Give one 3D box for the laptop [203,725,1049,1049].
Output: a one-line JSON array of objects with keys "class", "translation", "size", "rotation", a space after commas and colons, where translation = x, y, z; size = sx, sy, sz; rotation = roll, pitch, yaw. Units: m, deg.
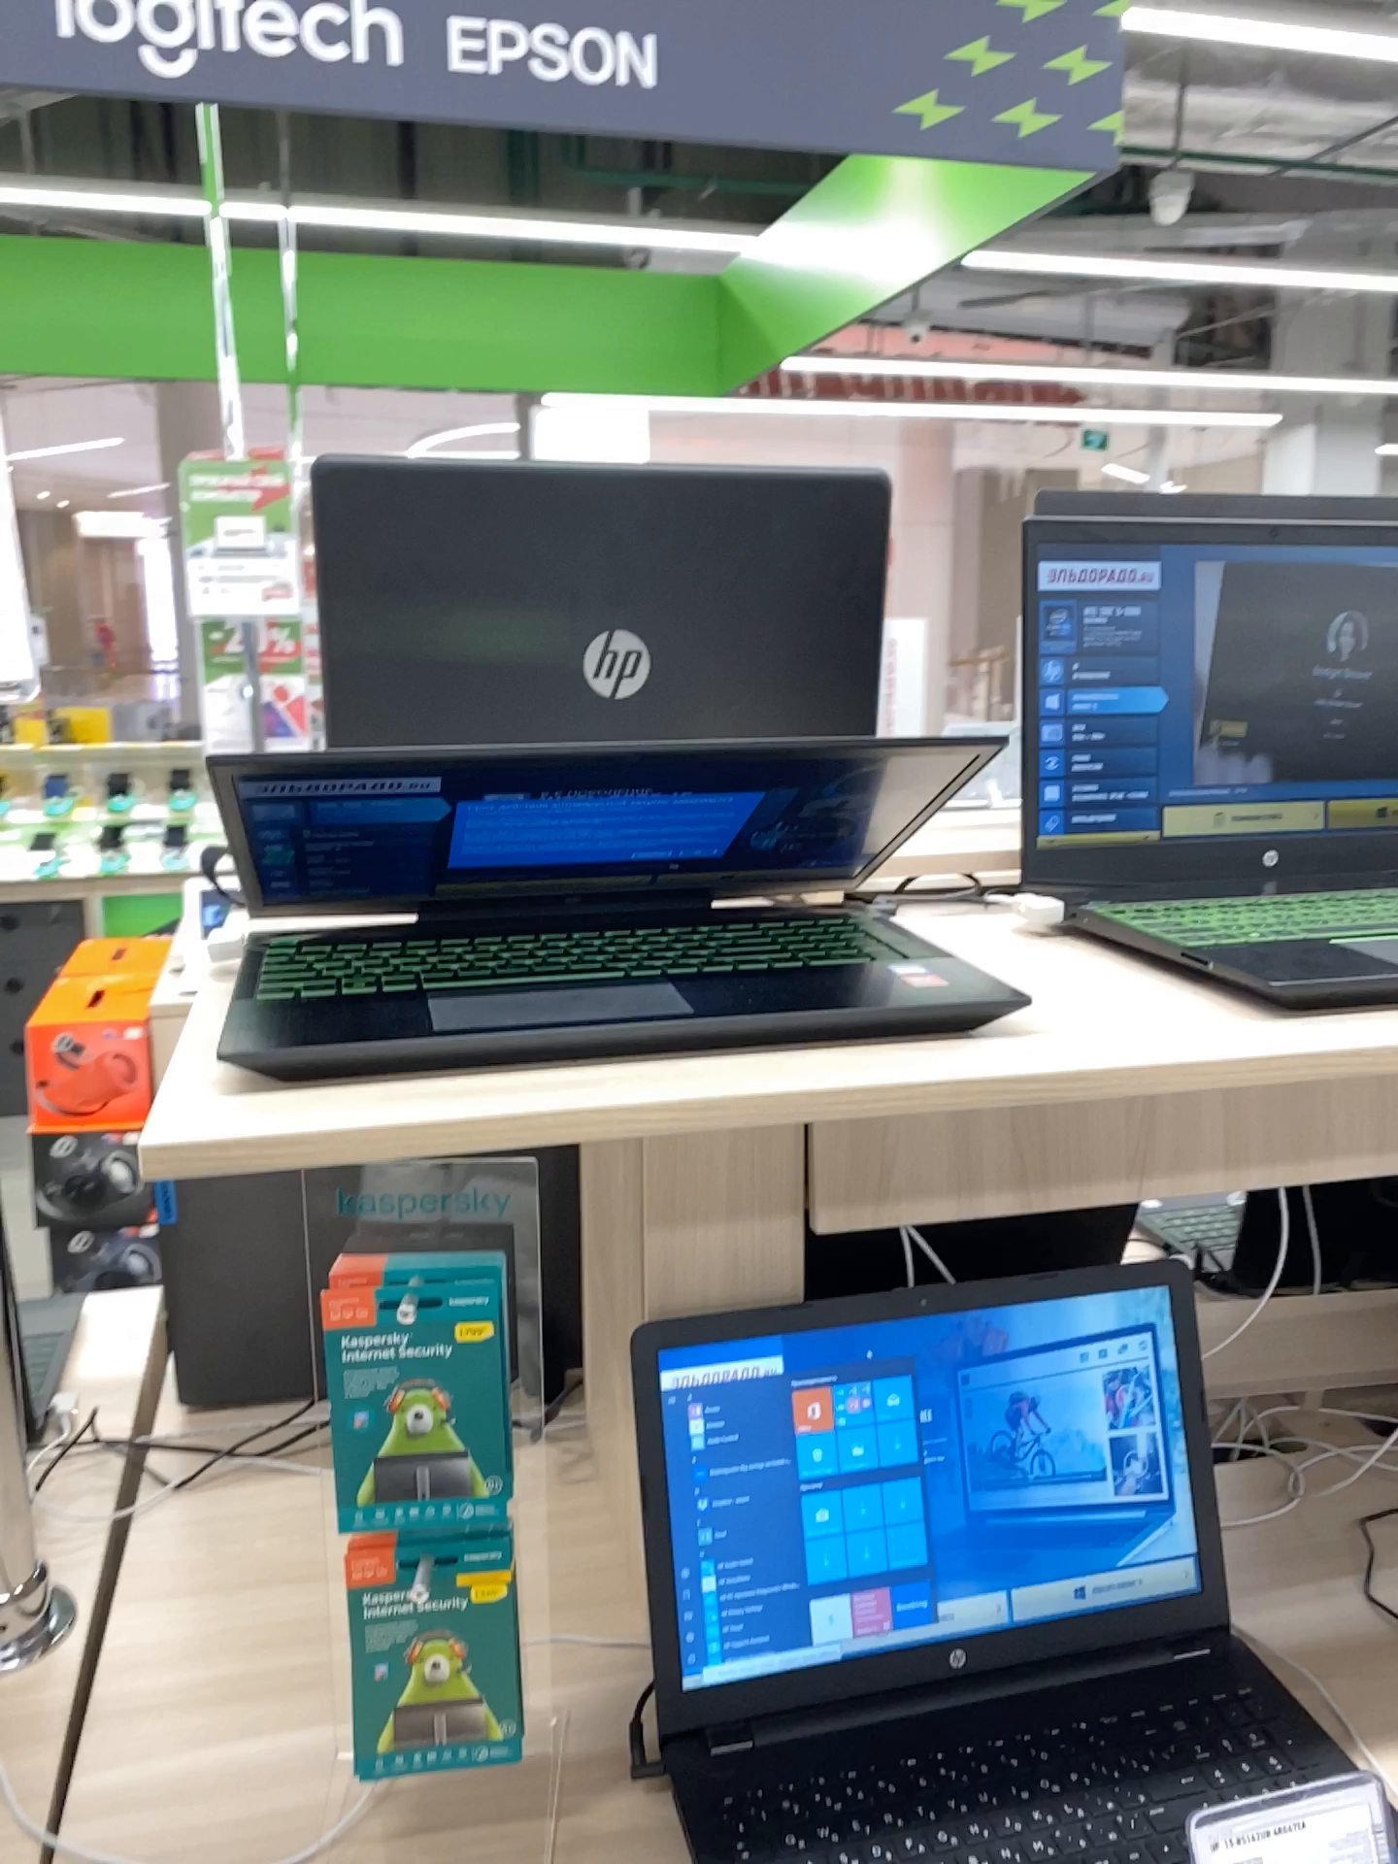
[{"class": "laptop", "translation": [-0.048, -0.040, 0.730], "size": [0.364, 0.115, 0.244], "rotation": [-2, 12, -13]}]
